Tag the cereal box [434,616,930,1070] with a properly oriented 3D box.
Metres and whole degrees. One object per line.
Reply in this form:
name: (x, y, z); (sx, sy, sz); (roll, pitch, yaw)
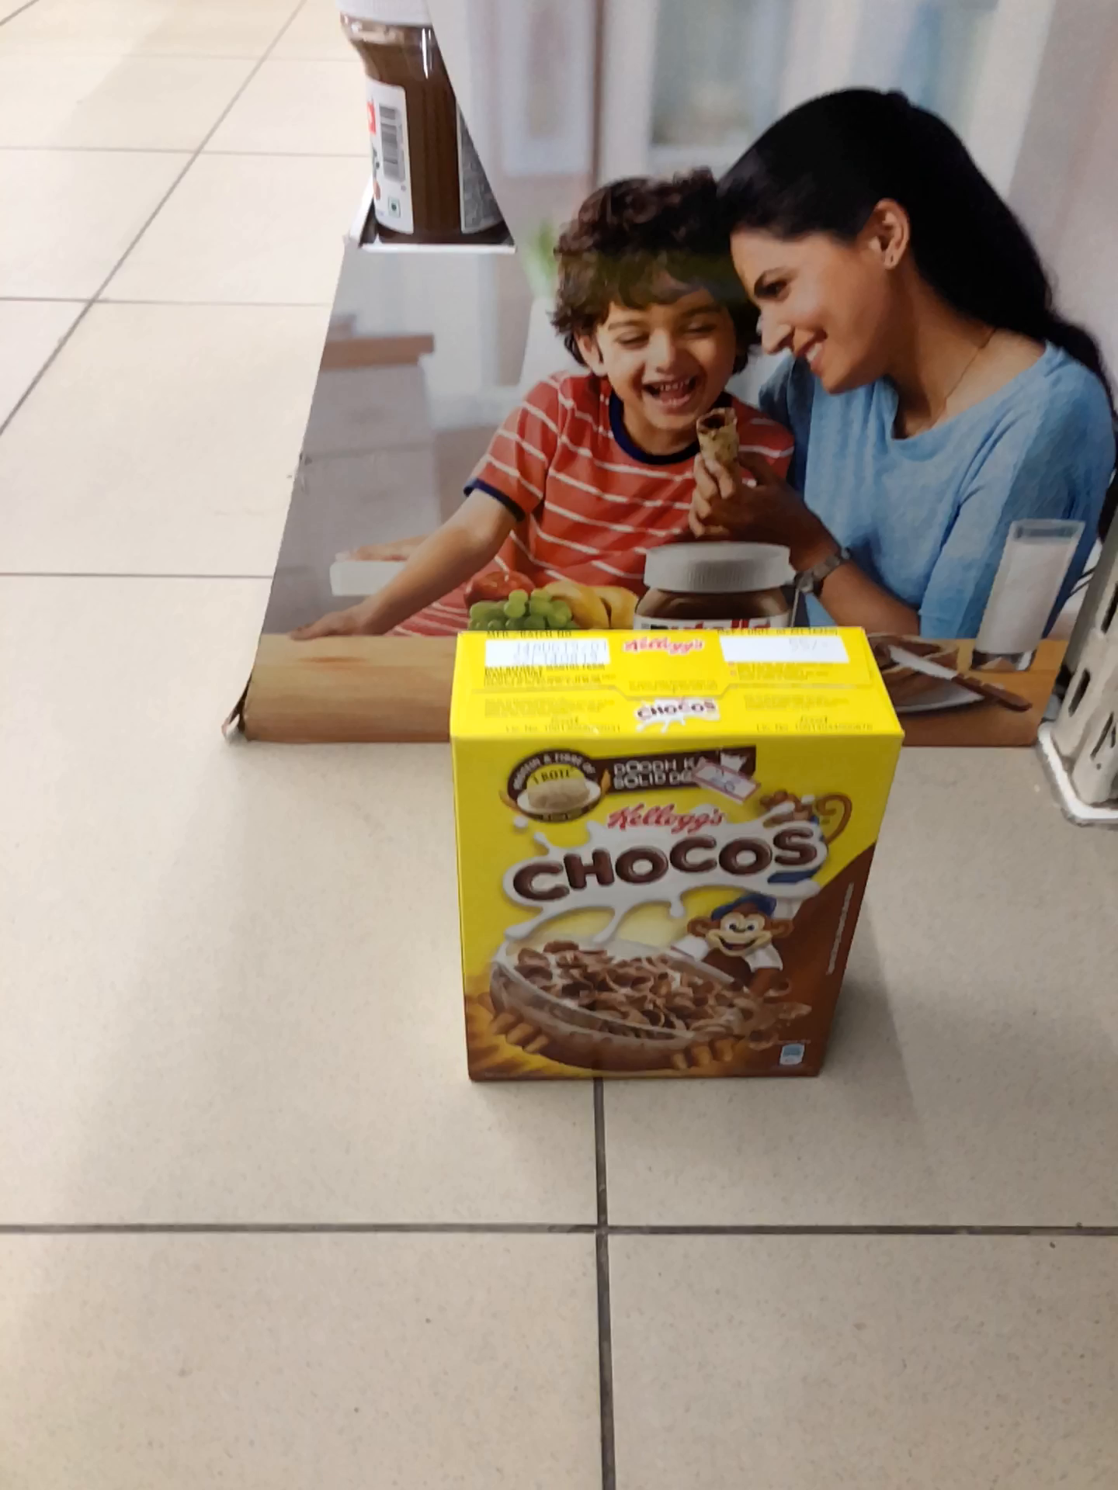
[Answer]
cereal box: (0.033, 0.040, 0.422); (0.140, 0.169, 0.050); (0, 41, -2)
